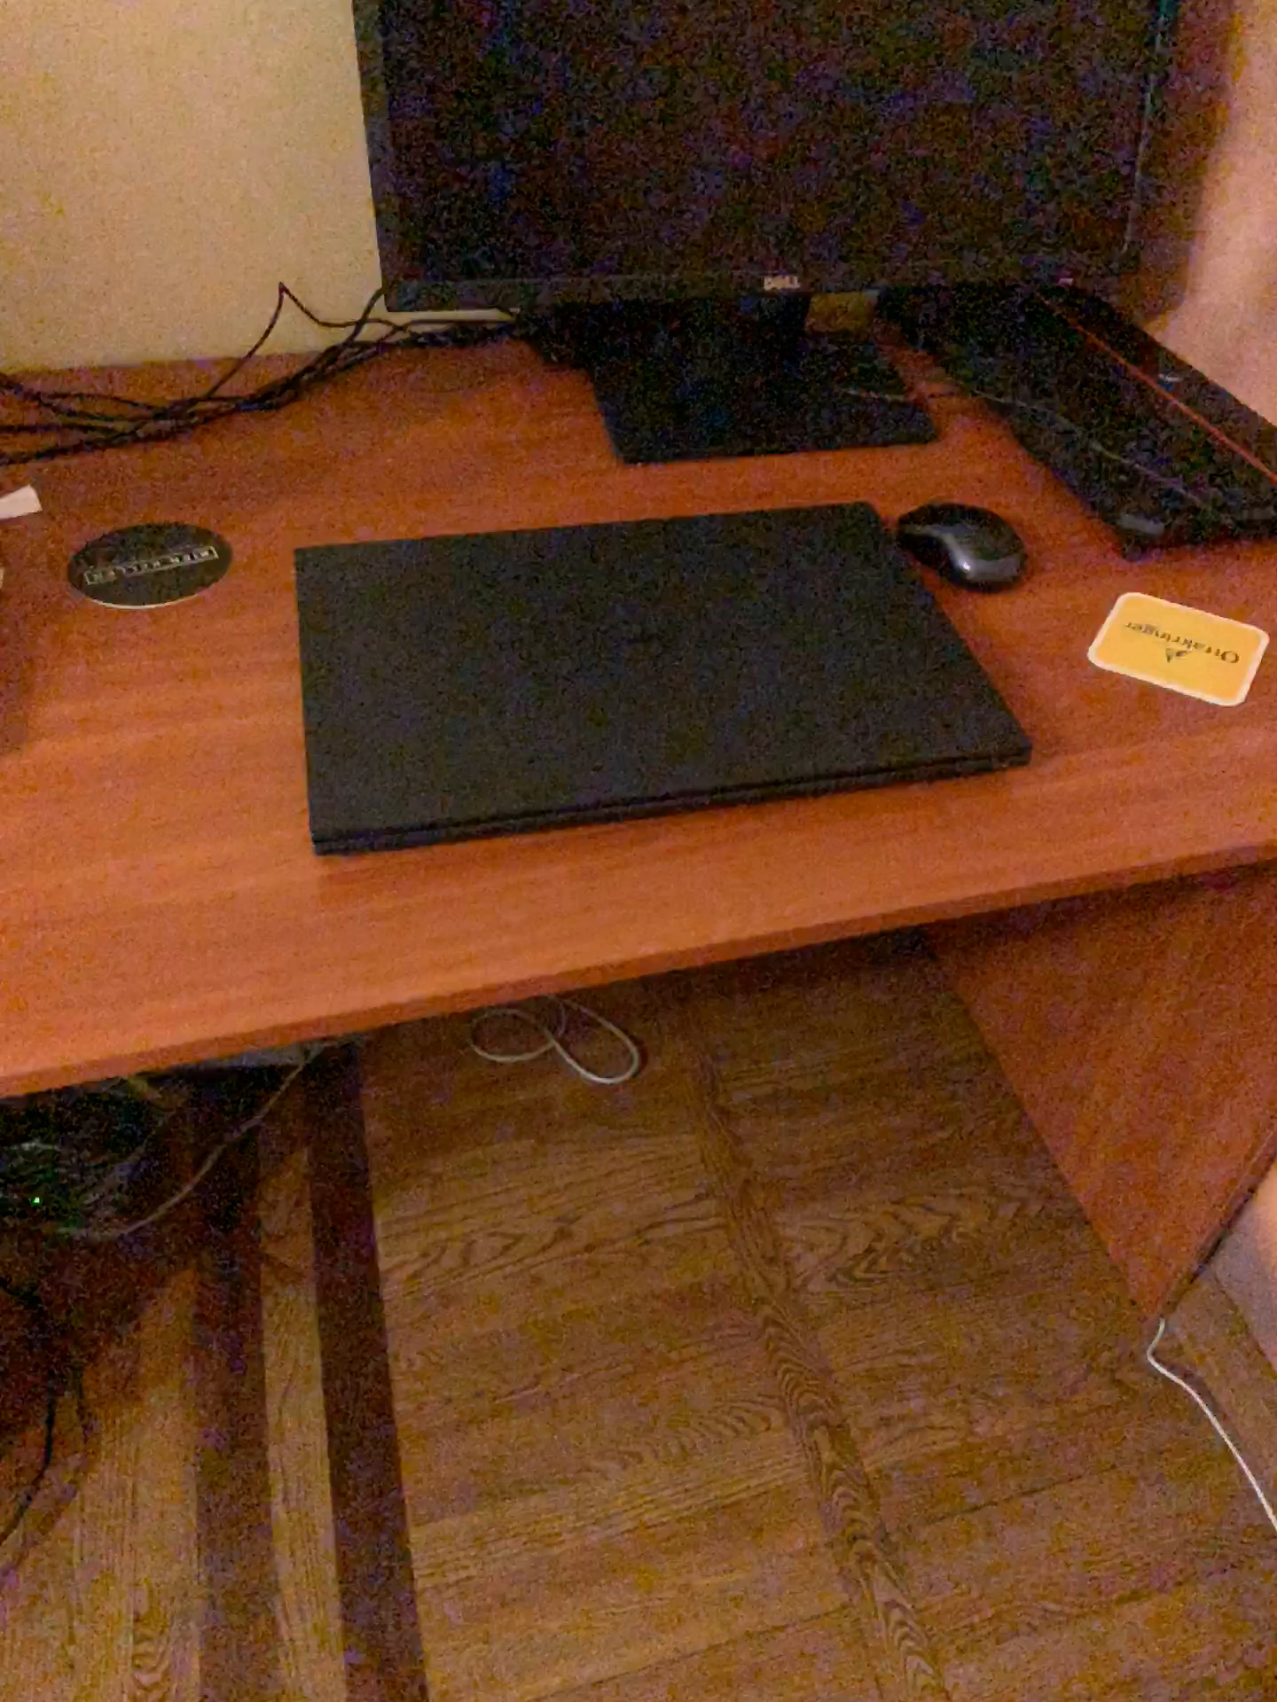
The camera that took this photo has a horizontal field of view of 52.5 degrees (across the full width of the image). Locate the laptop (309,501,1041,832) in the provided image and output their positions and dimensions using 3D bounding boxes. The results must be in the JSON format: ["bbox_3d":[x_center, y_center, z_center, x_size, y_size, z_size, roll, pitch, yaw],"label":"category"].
[{"bbox_3d":[0.004,-0.115,0.700,0.351,0.001,0.249,-7,44,-11],"label":"laptop"}]
